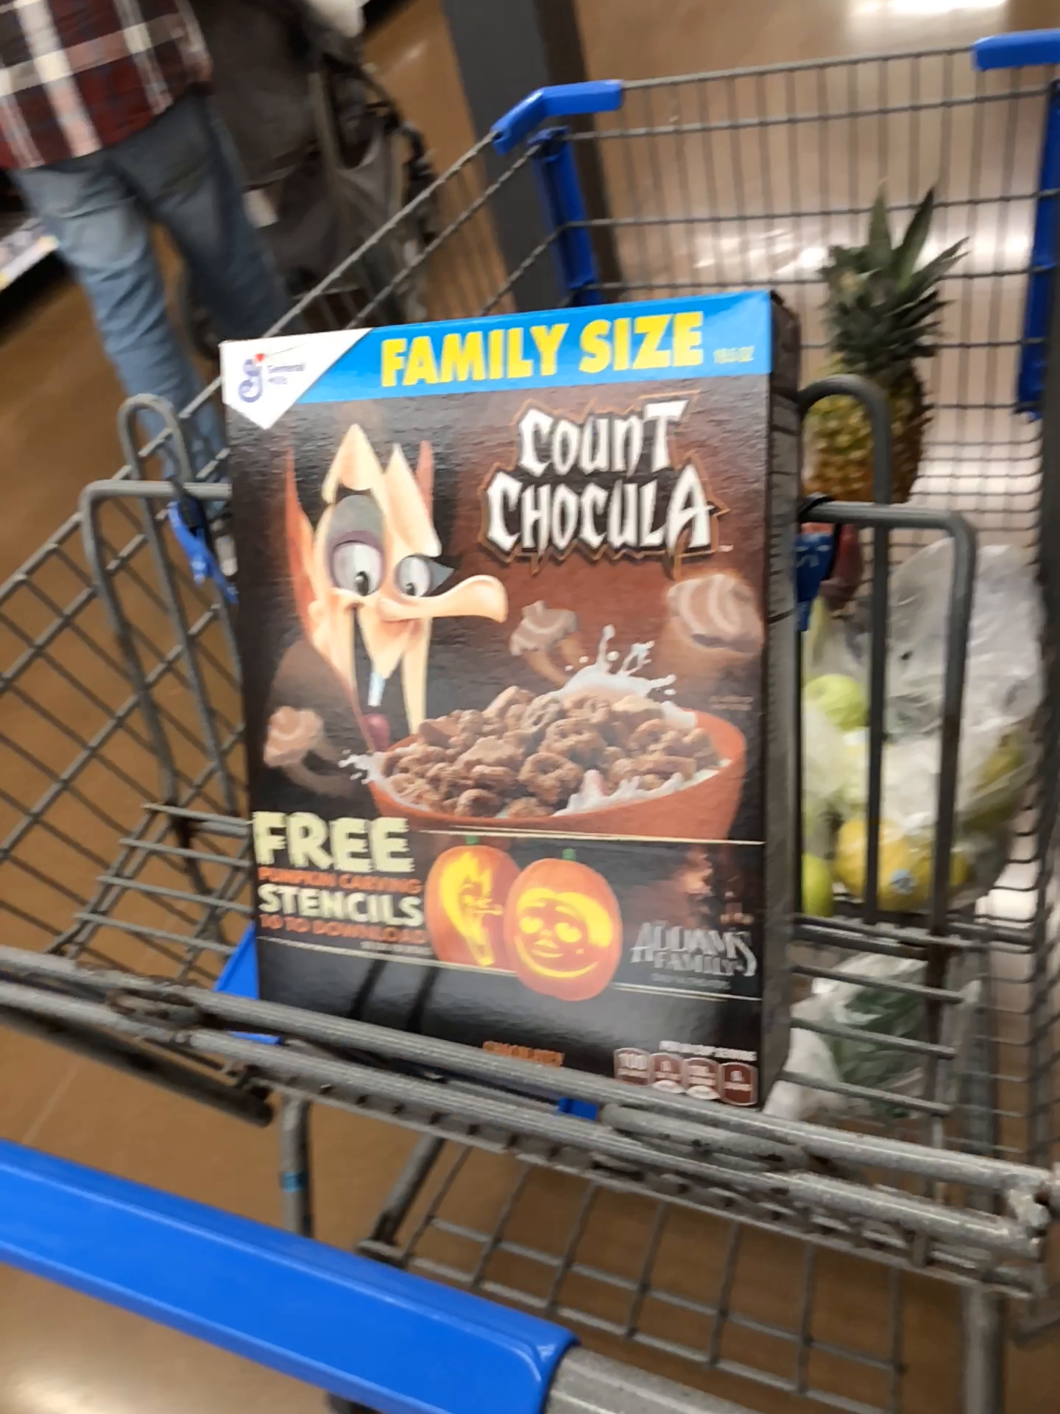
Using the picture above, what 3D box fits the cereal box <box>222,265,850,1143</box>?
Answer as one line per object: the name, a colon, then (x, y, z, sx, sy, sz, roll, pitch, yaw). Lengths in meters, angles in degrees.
cereal box: (0.004, -0.002, 0.516, 0.250, 0.330, 0.080, 2, 11, 21)
